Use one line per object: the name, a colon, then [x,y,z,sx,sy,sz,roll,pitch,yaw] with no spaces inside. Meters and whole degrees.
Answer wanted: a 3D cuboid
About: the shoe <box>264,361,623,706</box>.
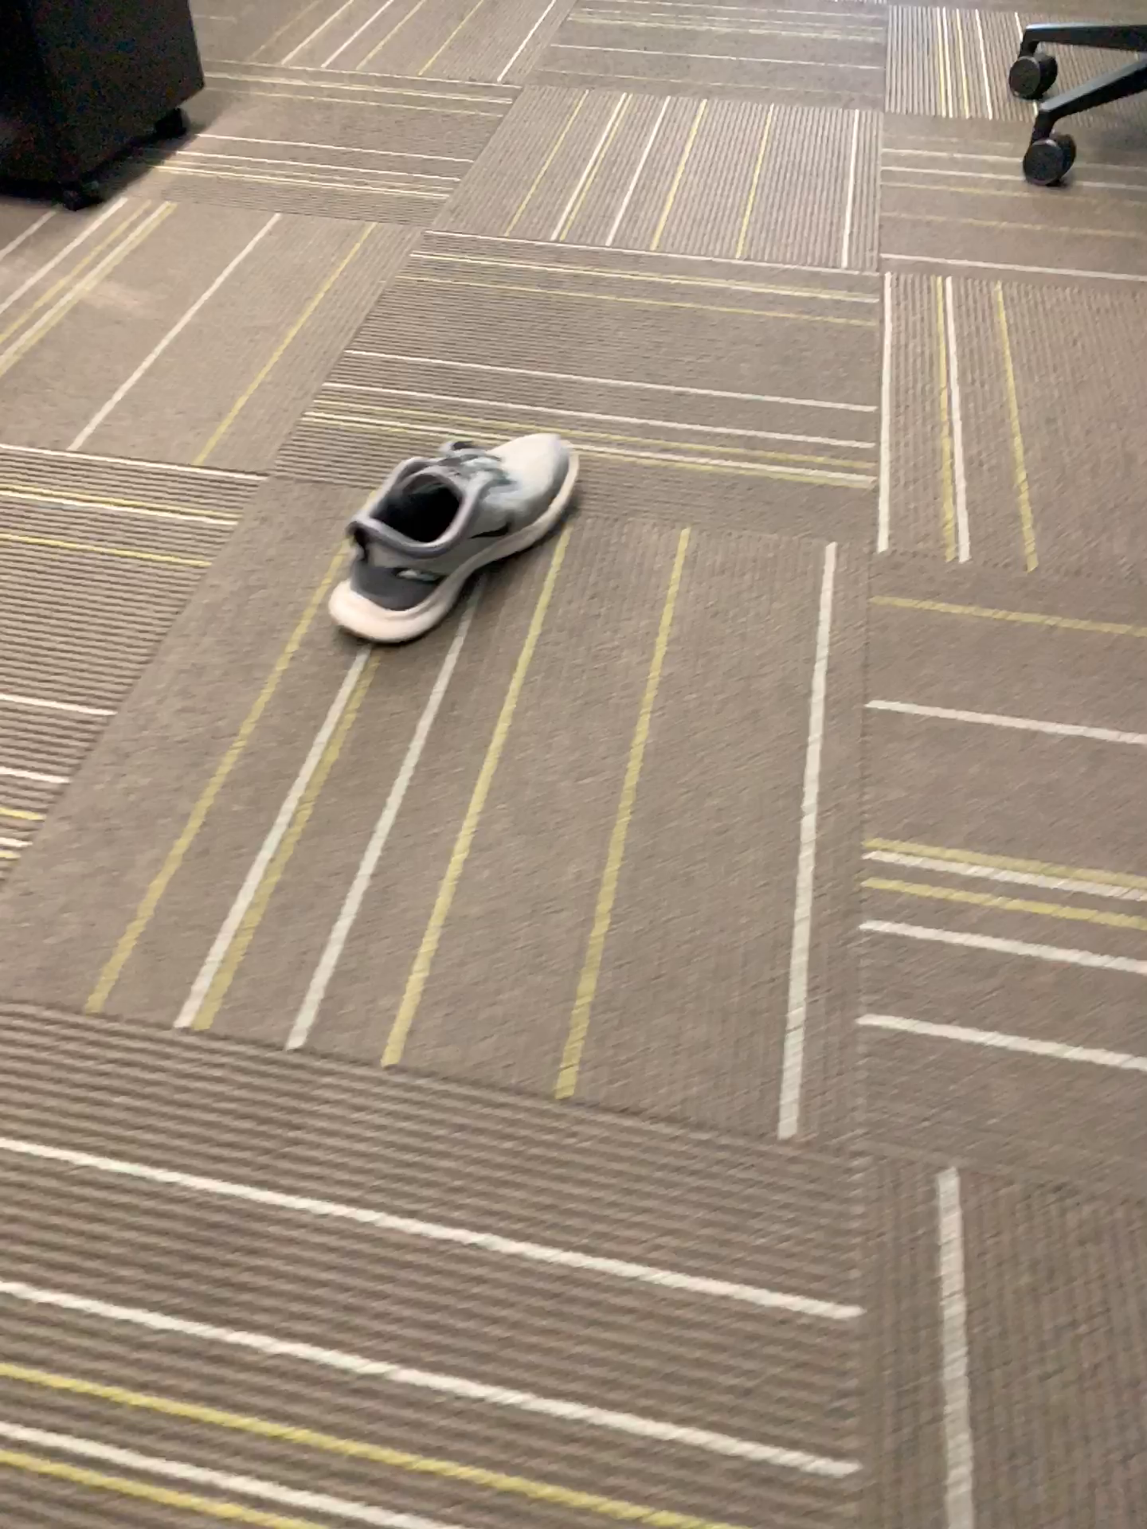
shoe: [-0.102,-0.221,1.050,0.160,0.109,0.332,22,50,17]
